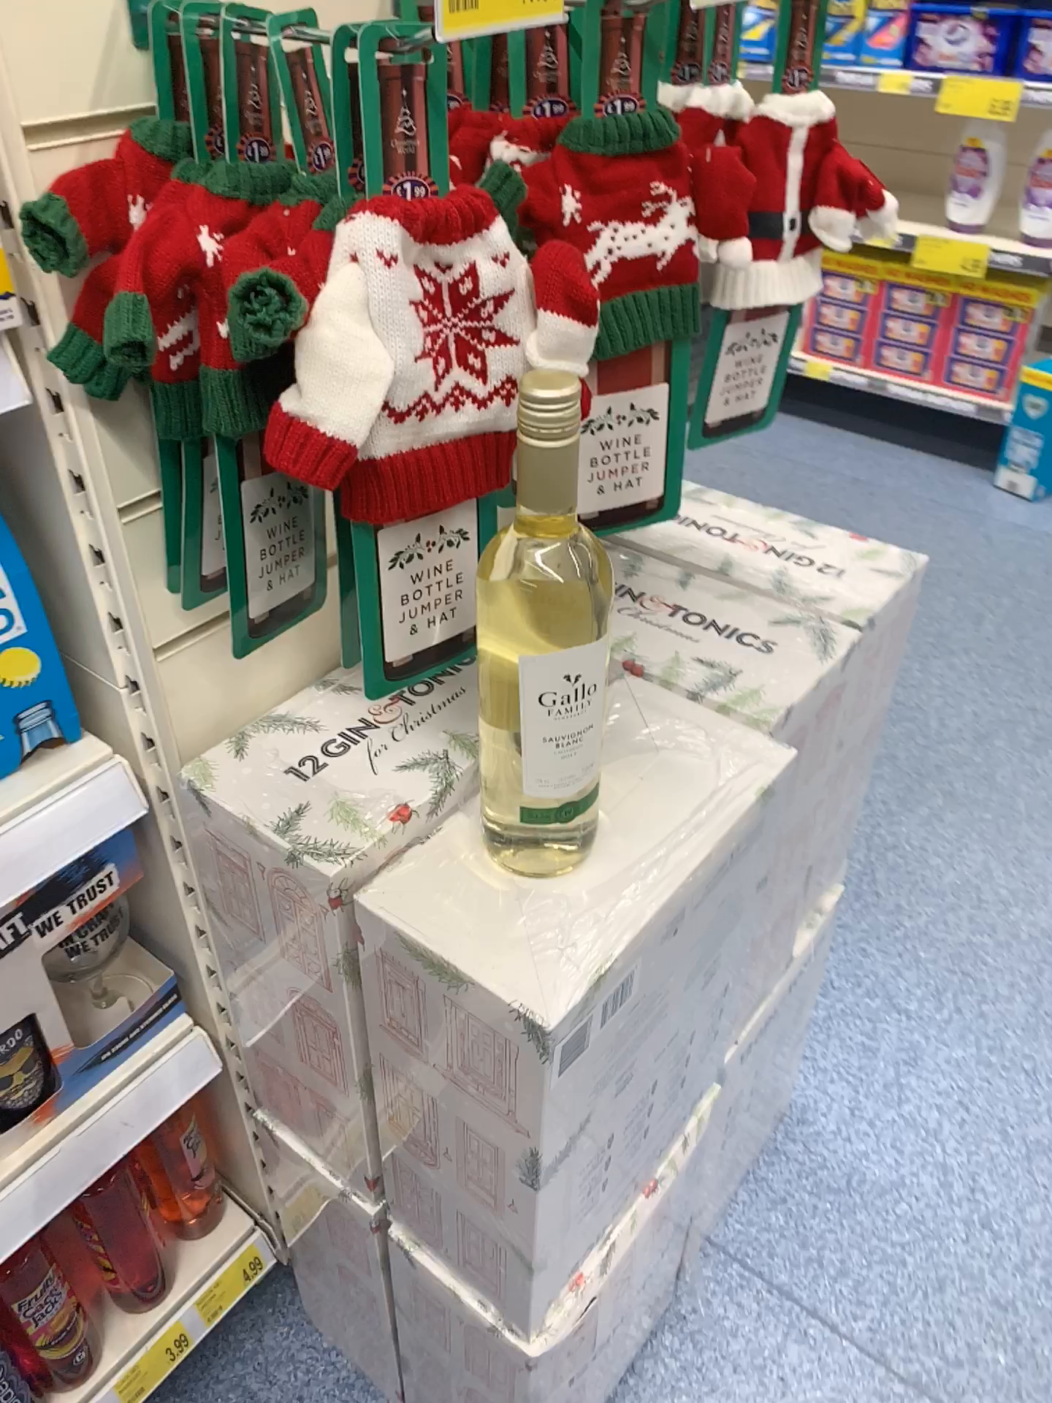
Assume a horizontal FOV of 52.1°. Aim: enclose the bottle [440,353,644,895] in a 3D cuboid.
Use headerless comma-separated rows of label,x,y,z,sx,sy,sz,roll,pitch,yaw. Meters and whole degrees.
bottle,0.006,-0.030,0.581,0.072,0.285,0.074,0,37,0
